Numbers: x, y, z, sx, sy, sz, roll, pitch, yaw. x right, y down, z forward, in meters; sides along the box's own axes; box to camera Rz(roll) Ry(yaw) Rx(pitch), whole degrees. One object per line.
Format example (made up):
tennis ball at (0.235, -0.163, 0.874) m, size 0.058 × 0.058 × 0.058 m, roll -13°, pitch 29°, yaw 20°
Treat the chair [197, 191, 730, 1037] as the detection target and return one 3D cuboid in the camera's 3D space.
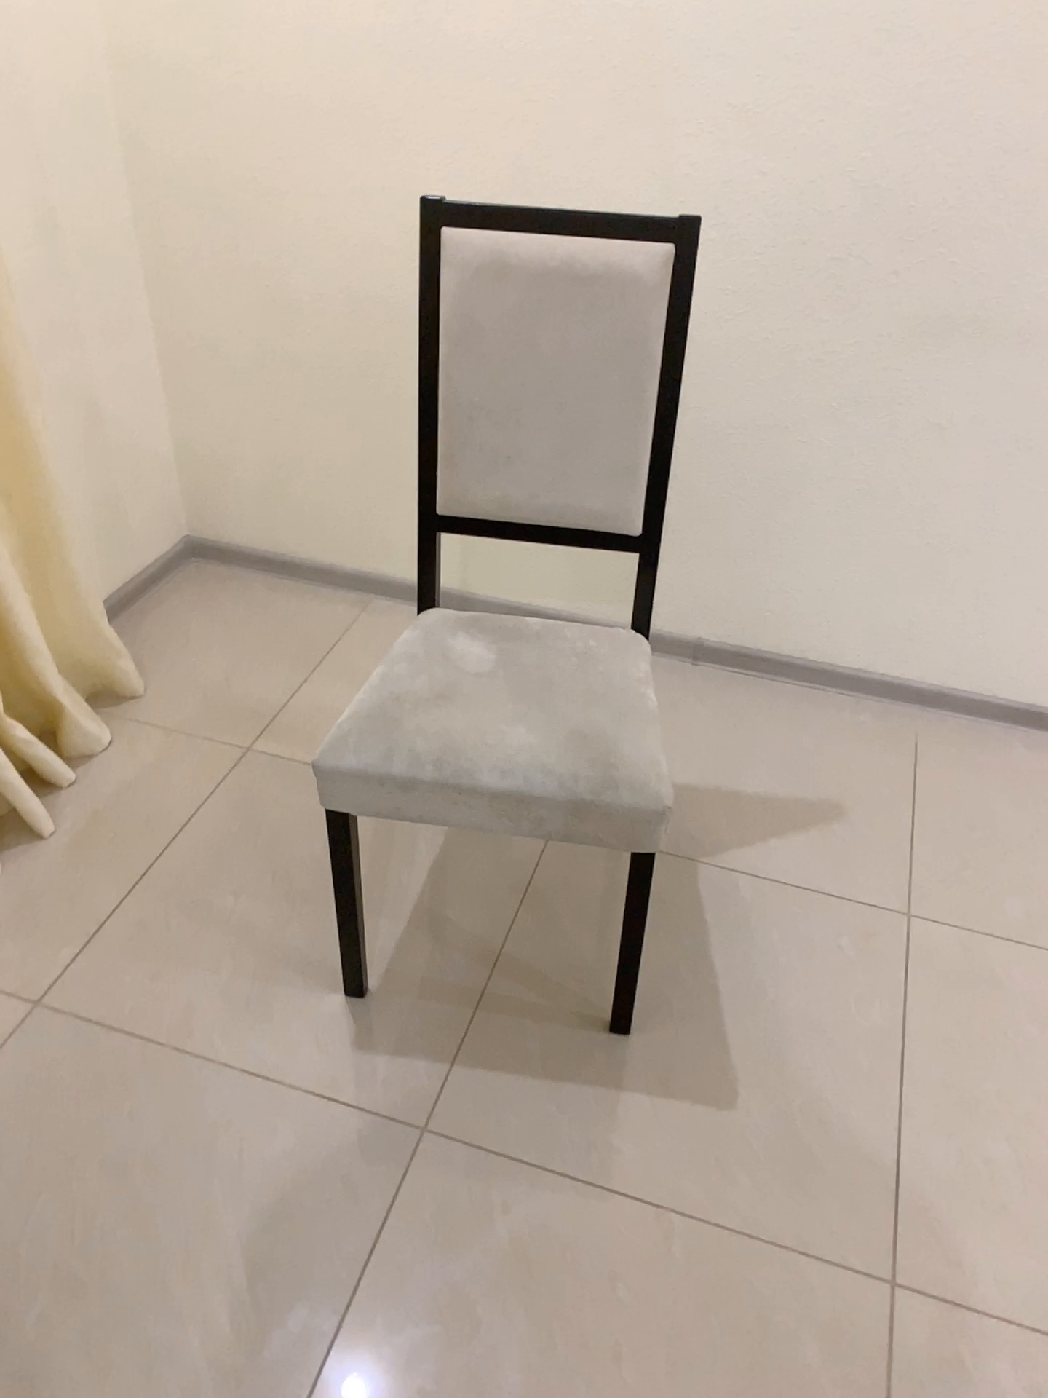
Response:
chair at (-0.022, -0.097, 1.433) m, size 0.480 × 0.964 × 0.513 m, roll 5°, pitch 36°, yaw 8°
